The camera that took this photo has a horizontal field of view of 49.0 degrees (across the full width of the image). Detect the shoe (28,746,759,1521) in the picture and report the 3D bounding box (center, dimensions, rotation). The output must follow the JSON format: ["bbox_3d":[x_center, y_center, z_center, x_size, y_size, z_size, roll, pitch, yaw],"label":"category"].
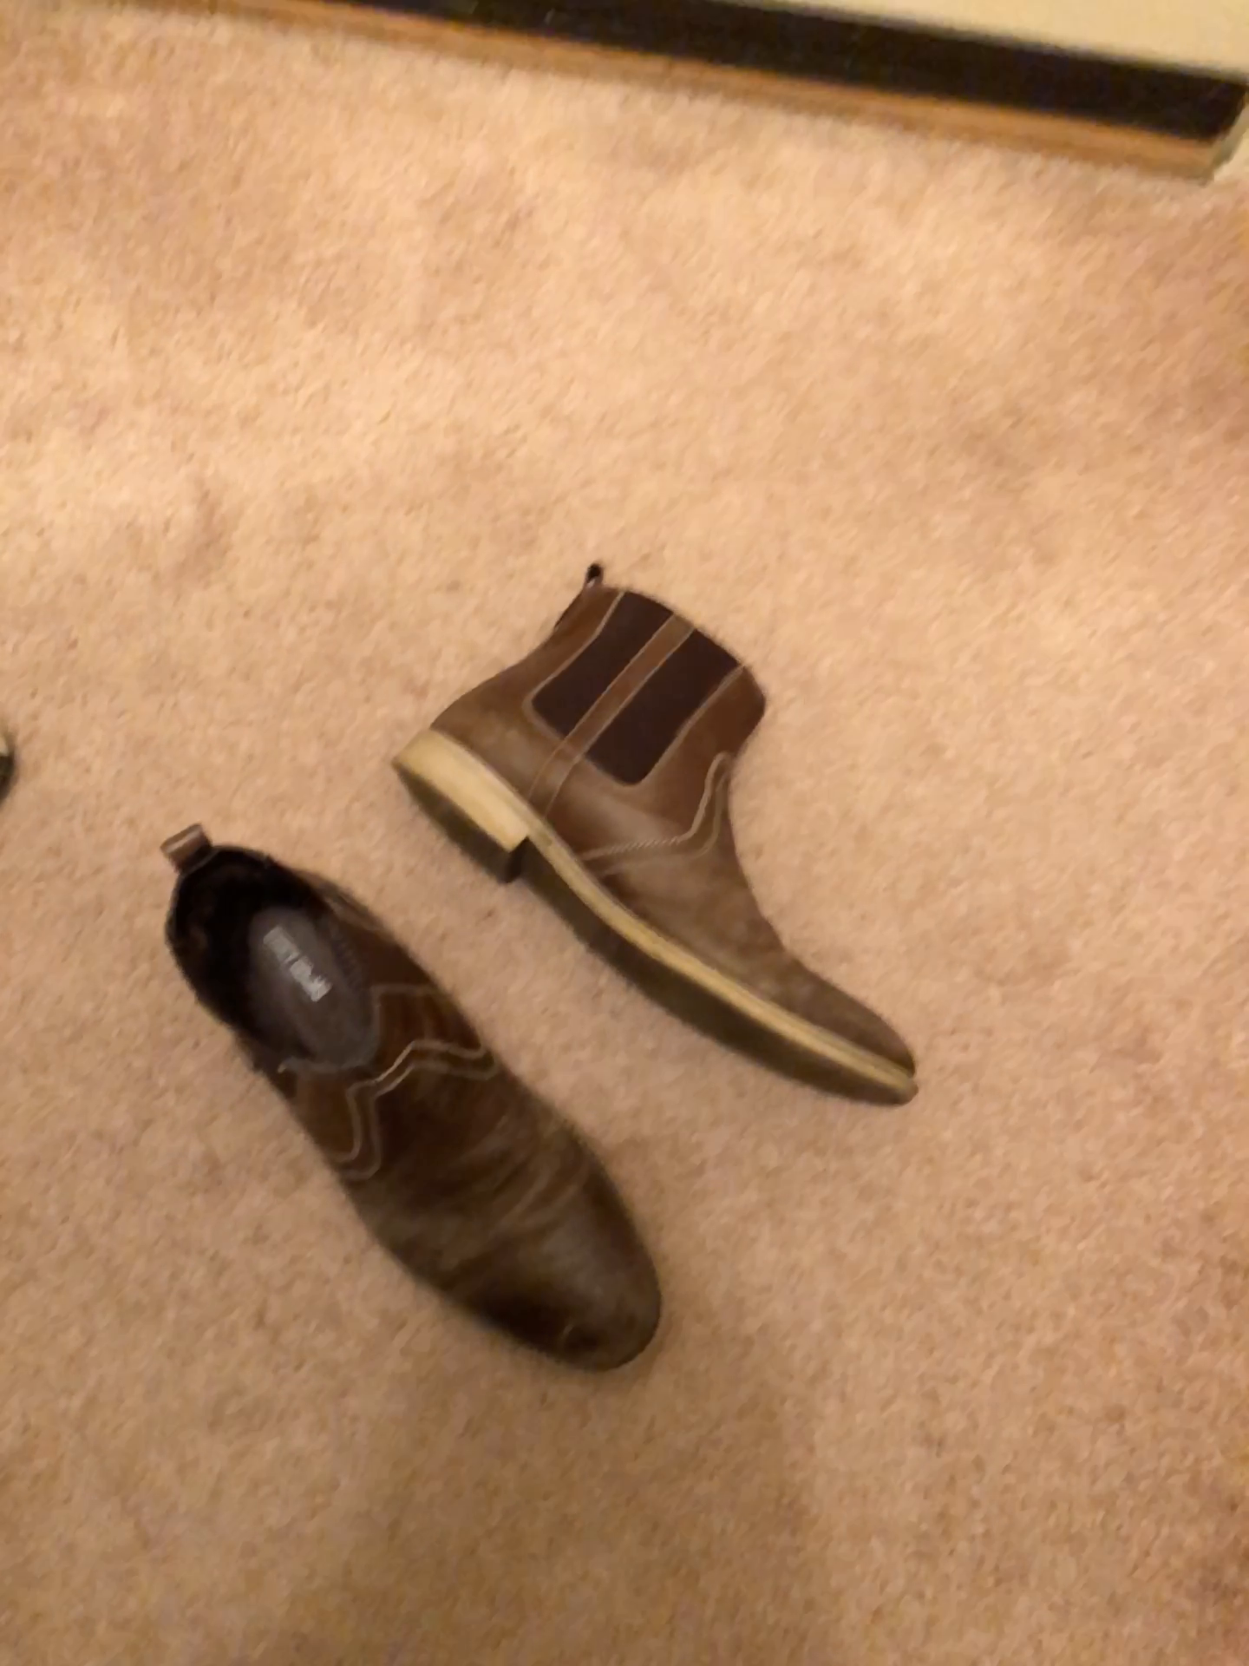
[{"bbox_3d":[-0.099,0.133,0.632,0.115,0.176,0.308,-42,80,-12],"label":"shoe"}]

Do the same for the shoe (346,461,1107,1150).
[{"bbox_3d":[0.047,-0.010,0.708,0.313,0.115,0.186,36,78,7],"label":"shoe"}]
